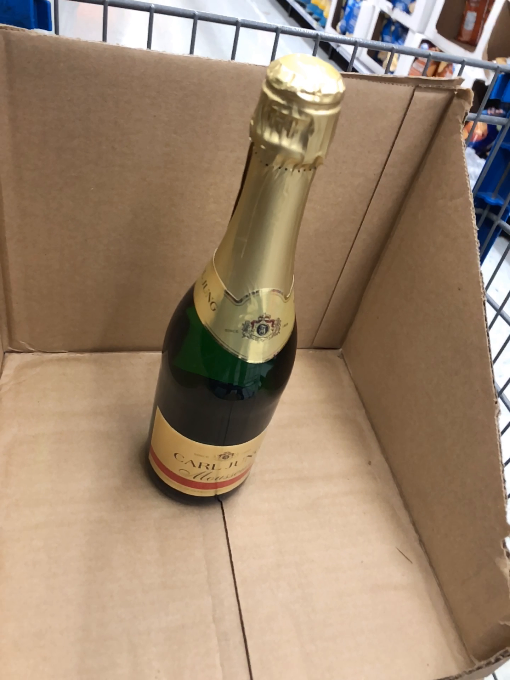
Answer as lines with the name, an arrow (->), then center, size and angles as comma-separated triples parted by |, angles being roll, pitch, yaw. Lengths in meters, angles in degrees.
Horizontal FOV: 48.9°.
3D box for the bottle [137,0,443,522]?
bottle -> -0.009, -0.016, 0.320 | 0.090, 0.288, 0.081 | -1, 42, -18
